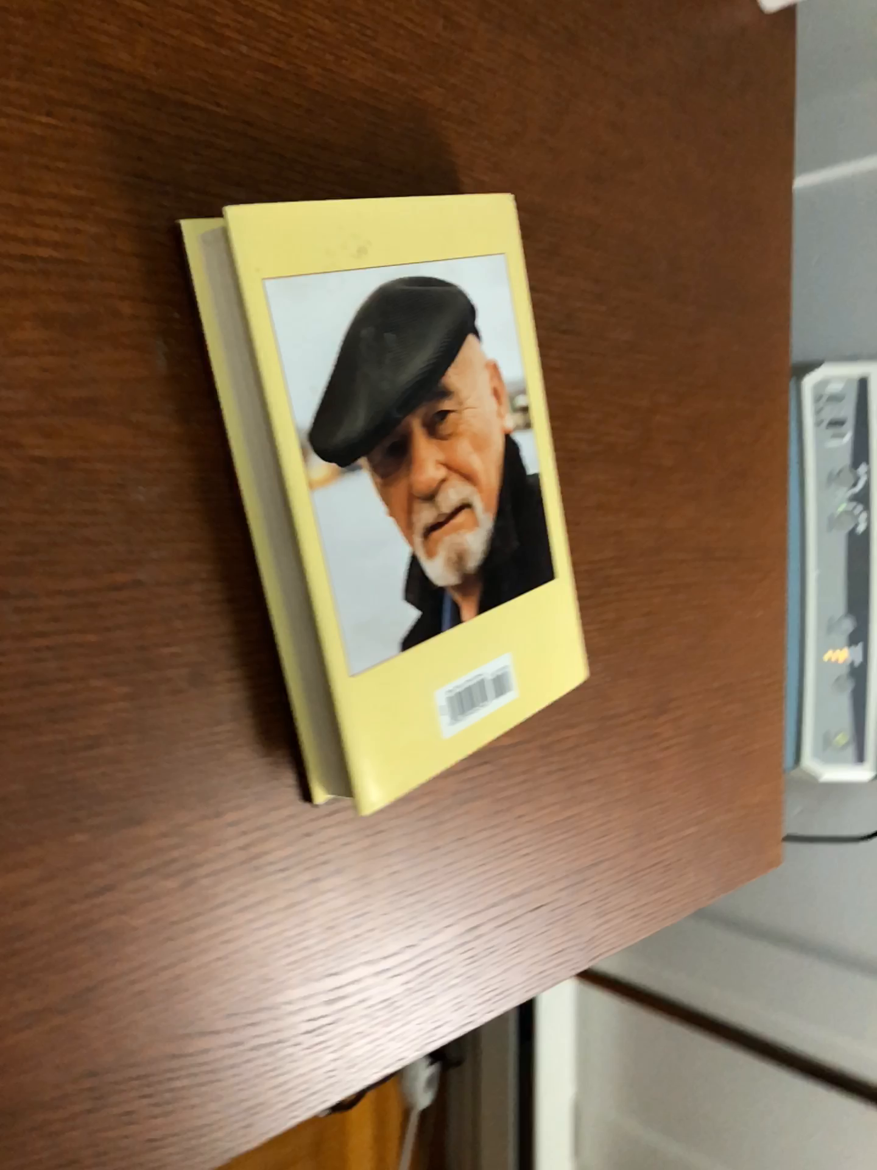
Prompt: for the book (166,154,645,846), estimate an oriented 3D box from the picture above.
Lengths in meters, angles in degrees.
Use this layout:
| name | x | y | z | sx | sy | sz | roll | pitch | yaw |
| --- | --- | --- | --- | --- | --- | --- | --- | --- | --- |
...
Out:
| name | x | y | z | sx | sy | sz | roll | pitch | yaw |
| --- | --- | --- | --- | --- | --- | --- | --- | --- | --- |
| book | 0.006 | -0.048 | 0.416 | 0.191 | 0.030 | 0.250 | -22 | 107 | -42 |
